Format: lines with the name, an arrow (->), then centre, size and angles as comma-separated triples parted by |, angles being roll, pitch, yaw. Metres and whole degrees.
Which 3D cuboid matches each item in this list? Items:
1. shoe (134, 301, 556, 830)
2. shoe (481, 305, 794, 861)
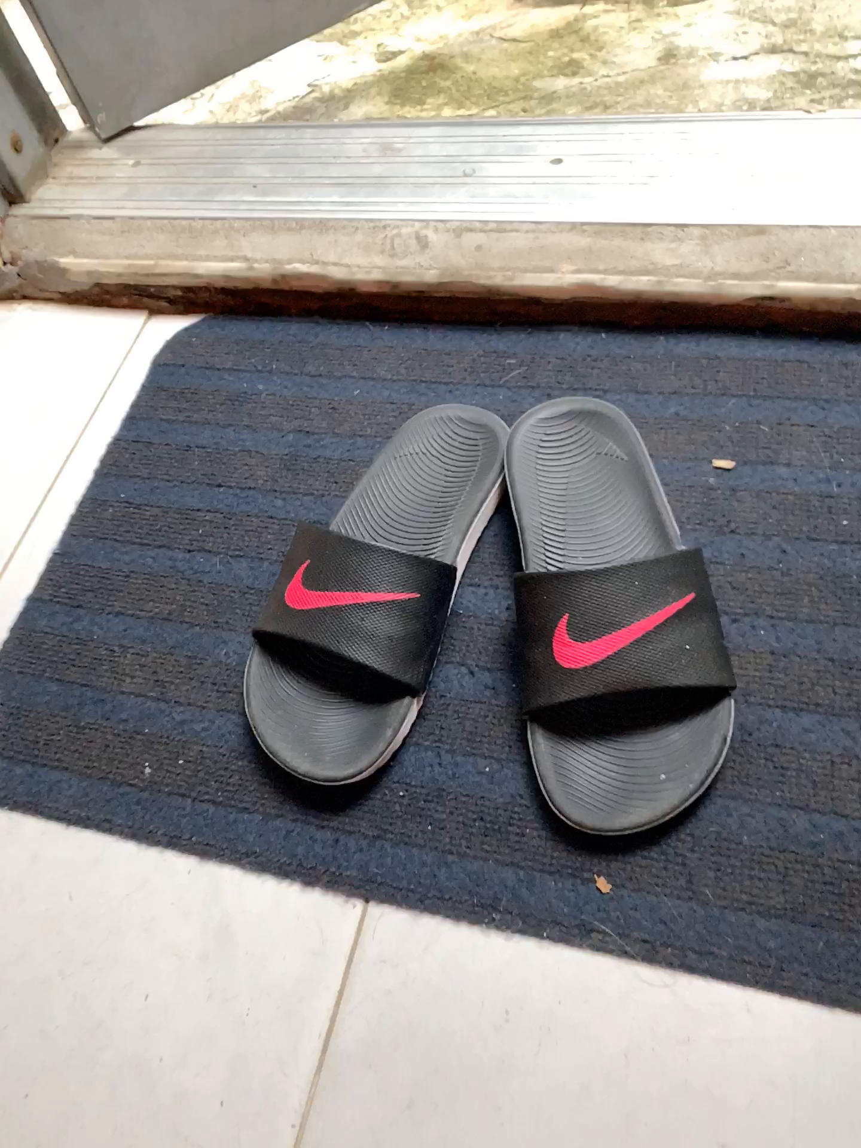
shoe -> -0.027, -0.016, 0.449 | 0.099, 0.078, 0.251 | 15, 62, 20
shoe -> 0.084, -0.005, 0.419 | 0.099, 0.078, 0.251 | -6, 57, 8
